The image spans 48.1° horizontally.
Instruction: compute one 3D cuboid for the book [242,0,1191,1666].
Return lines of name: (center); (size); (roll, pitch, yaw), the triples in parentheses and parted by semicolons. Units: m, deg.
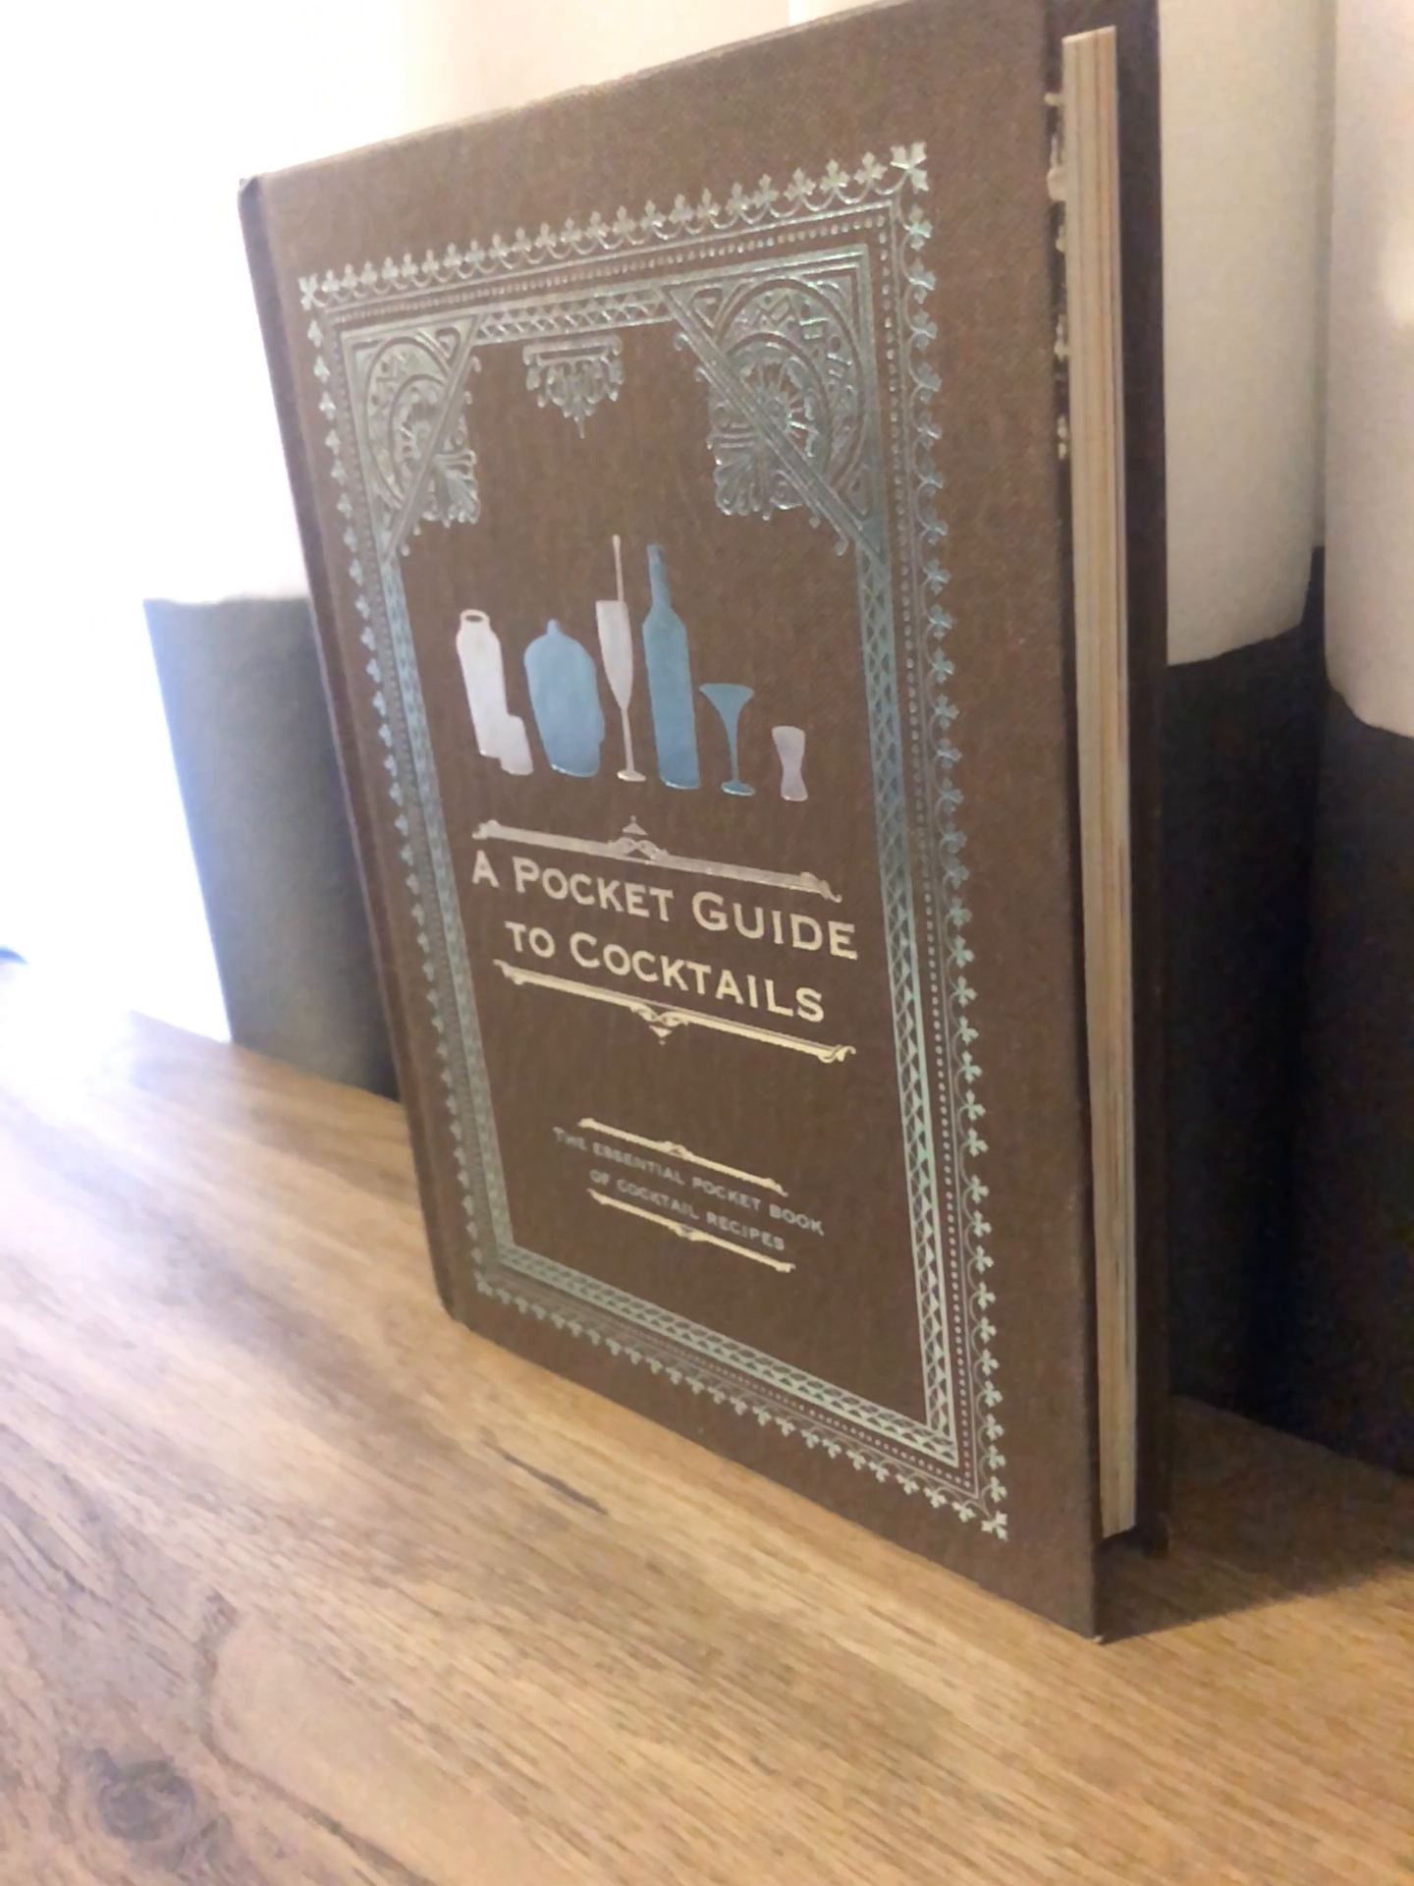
book: (0.000, -0.012, 0.229); (0.137, 0.200, 0.022); (12, 27, 41)
